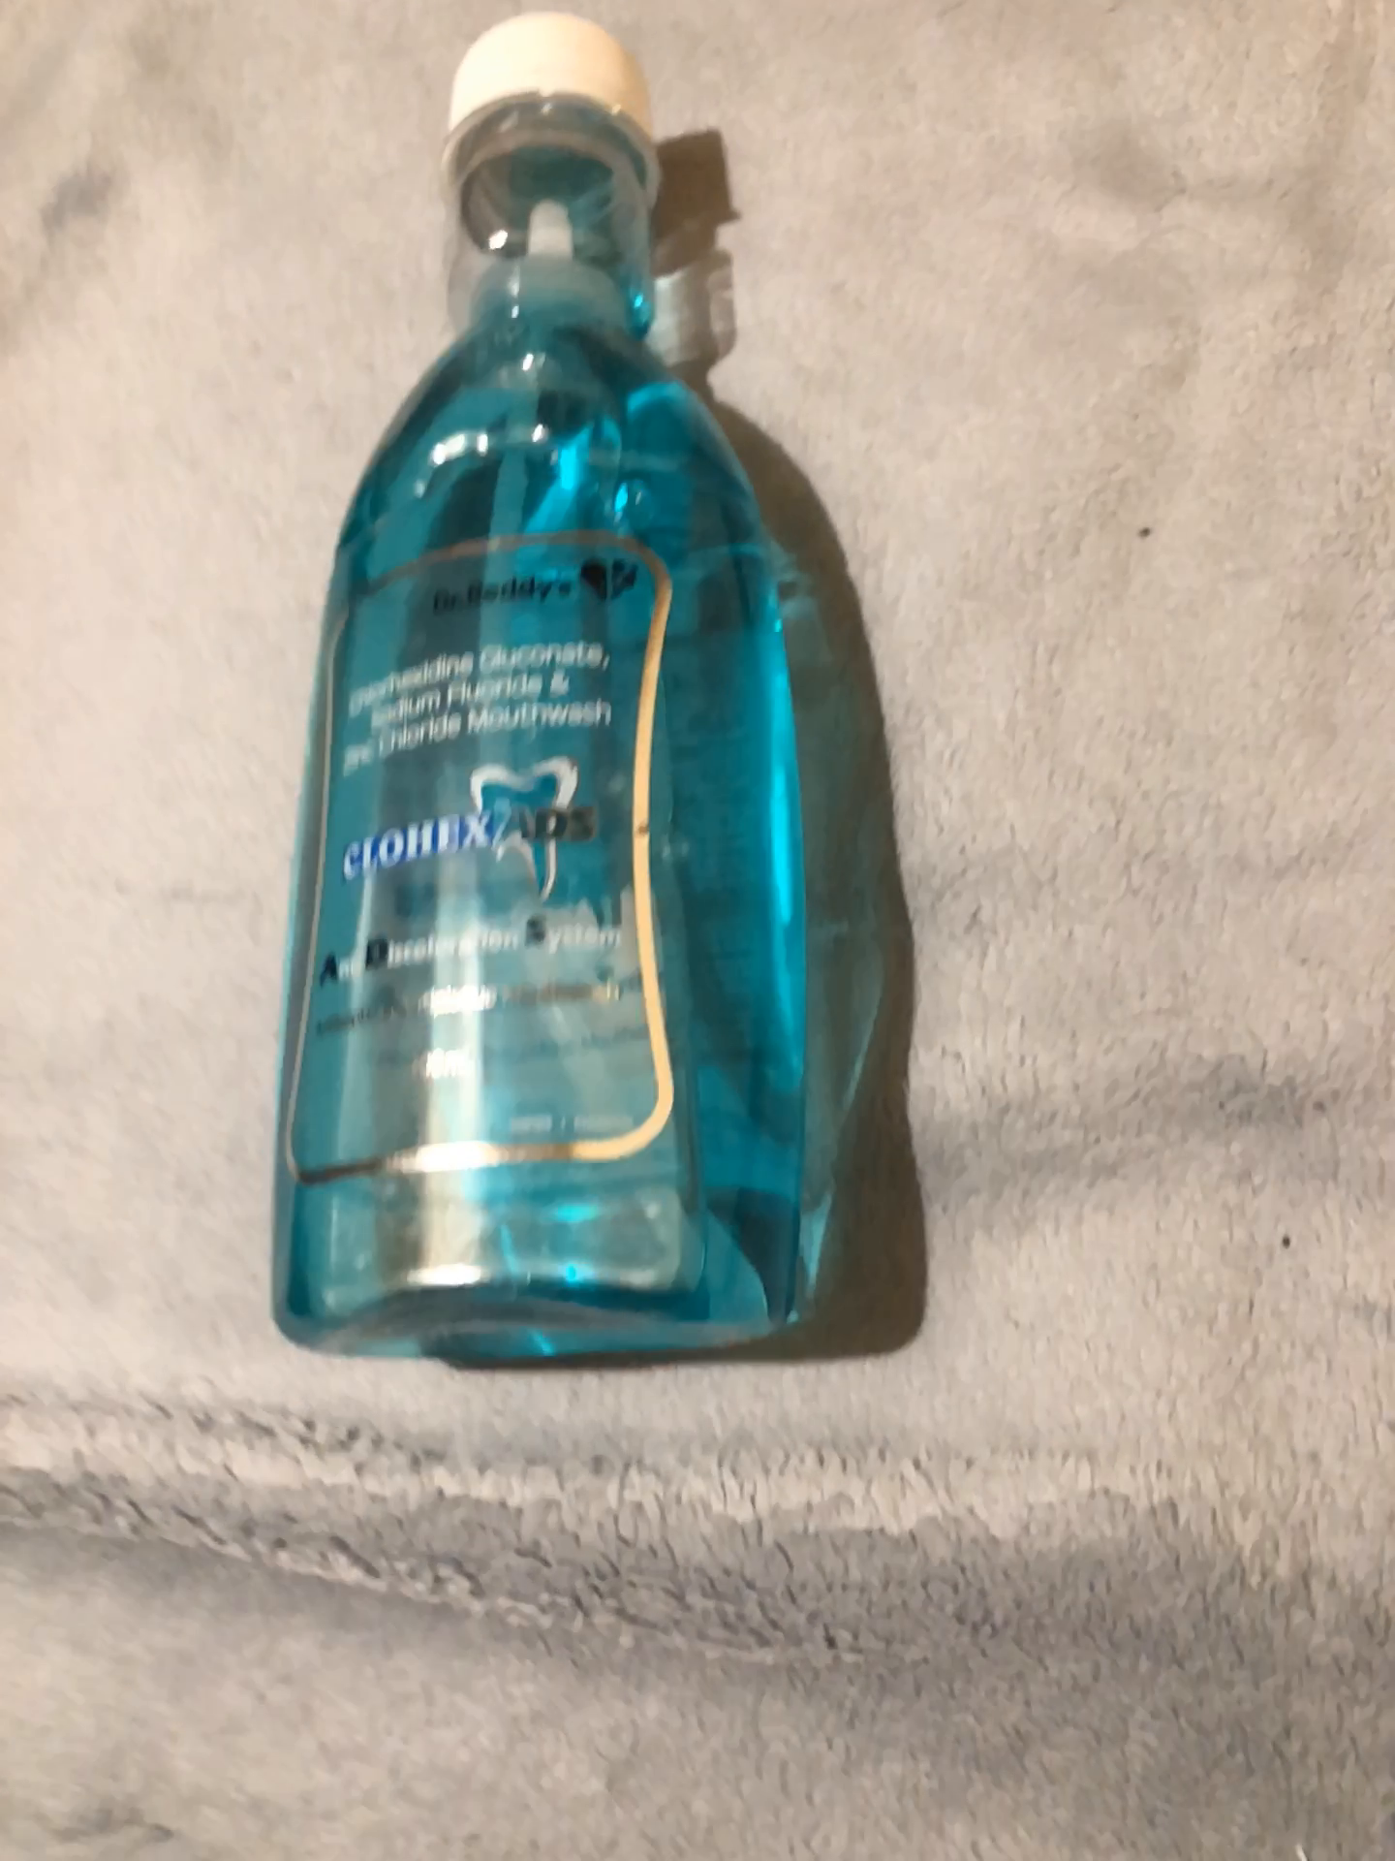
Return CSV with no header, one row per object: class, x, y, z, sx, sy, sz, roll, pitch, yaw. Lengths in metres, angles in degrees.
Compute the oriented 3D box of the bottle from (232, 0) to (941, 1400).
bottle,-0.015,-0.048,0.212,0.070,0.040,0.210,-8,70,17
